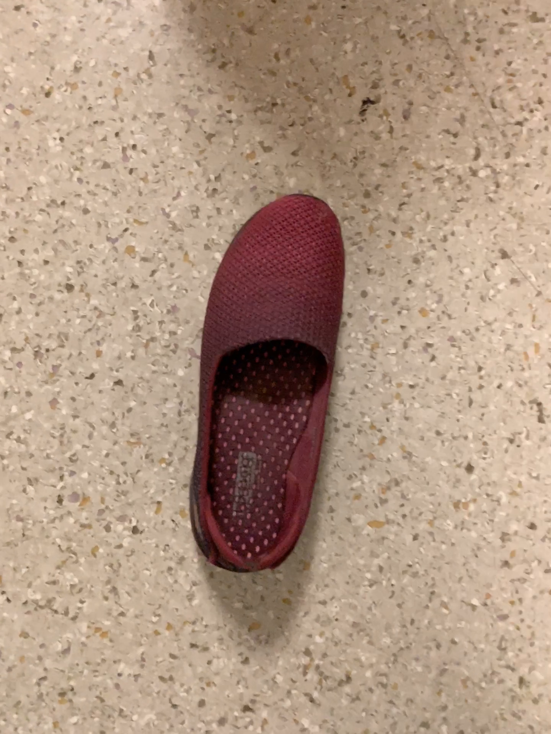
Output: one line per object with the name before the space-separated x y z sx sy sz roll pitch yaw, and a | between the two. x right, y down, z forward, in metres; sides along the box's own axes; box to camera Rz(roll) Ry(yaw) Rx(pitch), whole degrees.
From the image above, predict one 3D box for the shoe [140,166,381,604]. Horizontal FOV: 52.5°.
shoe | -0.010 0.010 0.354 0.091 0.091 0.229 11 87 -5
